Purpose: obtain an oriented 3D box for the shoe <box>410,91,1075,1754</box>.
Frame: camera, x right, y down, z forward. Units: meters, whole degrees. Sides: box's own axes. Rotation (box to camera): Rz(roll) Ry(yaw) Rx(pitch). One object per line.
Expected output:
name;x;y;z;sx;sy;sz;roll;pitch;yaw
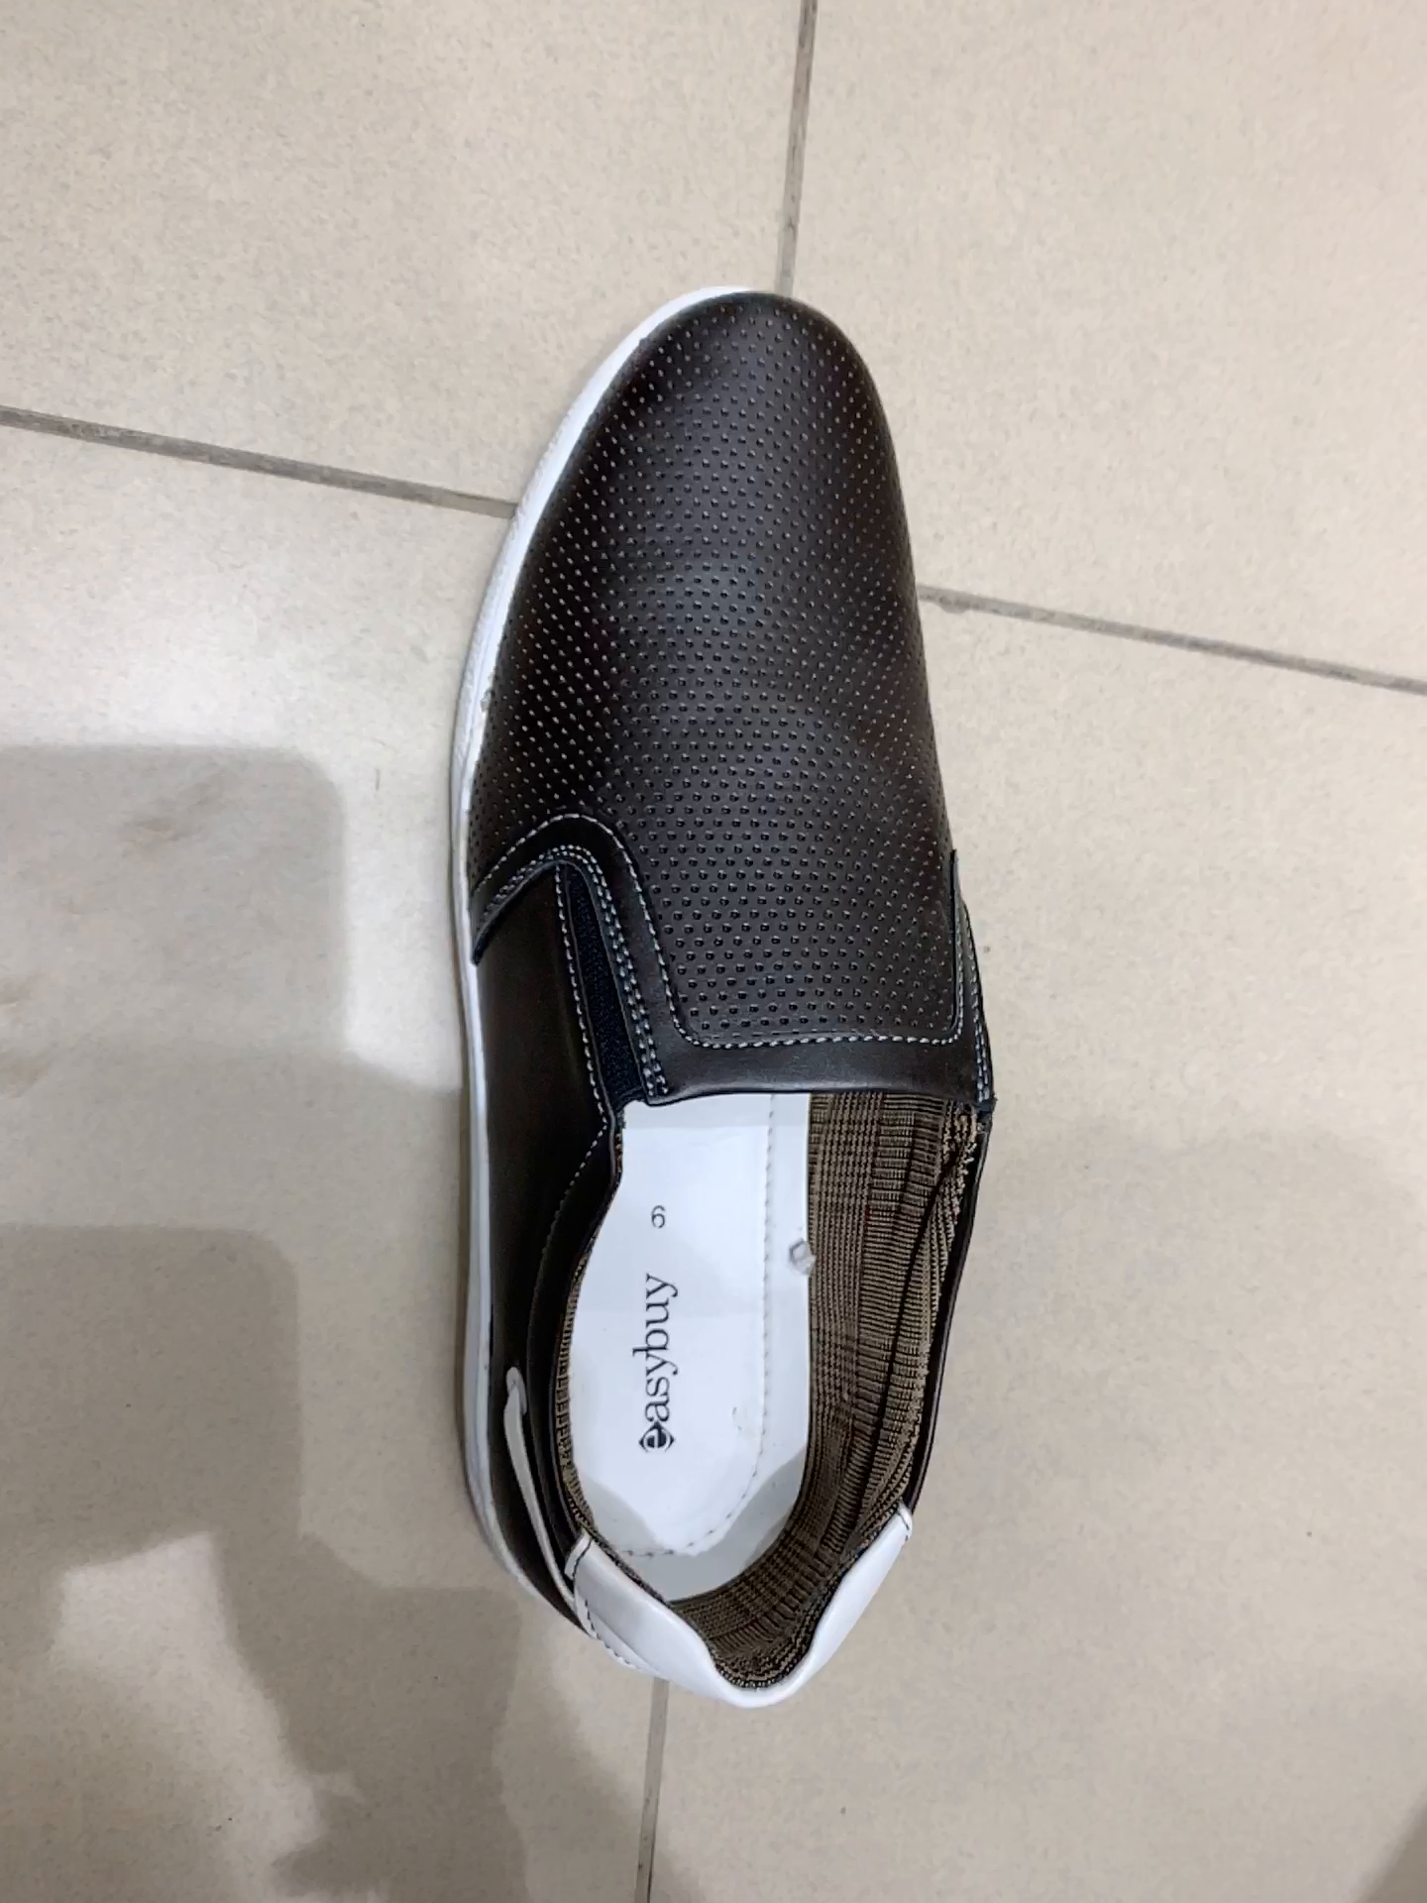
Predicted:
shoe;0.001;-0.003;0.327;0.110;0.090;0.300;3;90;-18
